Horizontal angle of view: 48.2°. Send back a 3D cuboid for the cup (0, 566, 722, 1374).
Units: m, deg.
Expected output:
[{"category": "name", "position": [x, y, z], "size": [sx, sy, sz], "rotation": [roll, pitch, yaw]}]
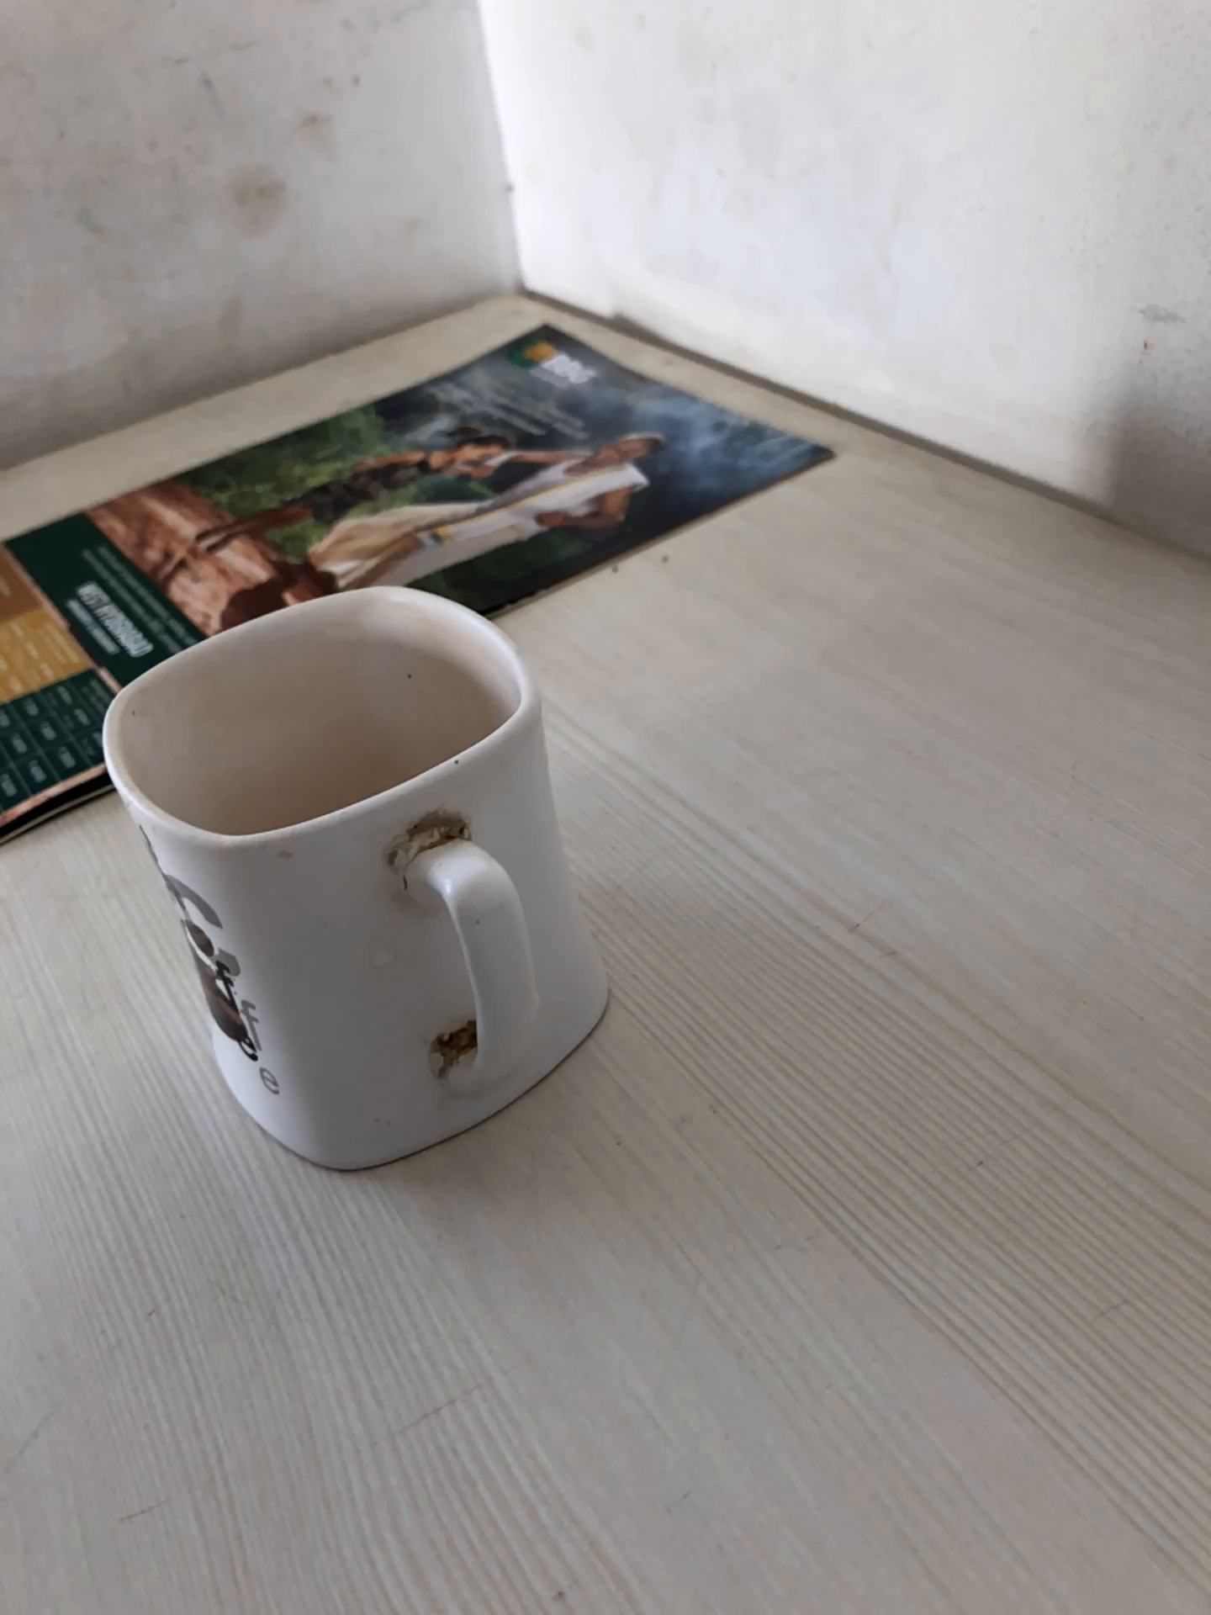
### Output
[{"category": "cup", "position": [-0.039, 0.019, 0.219], "size": [0.070, 0.070, 0.090], "rotation": [-28, 41, -24]}]
